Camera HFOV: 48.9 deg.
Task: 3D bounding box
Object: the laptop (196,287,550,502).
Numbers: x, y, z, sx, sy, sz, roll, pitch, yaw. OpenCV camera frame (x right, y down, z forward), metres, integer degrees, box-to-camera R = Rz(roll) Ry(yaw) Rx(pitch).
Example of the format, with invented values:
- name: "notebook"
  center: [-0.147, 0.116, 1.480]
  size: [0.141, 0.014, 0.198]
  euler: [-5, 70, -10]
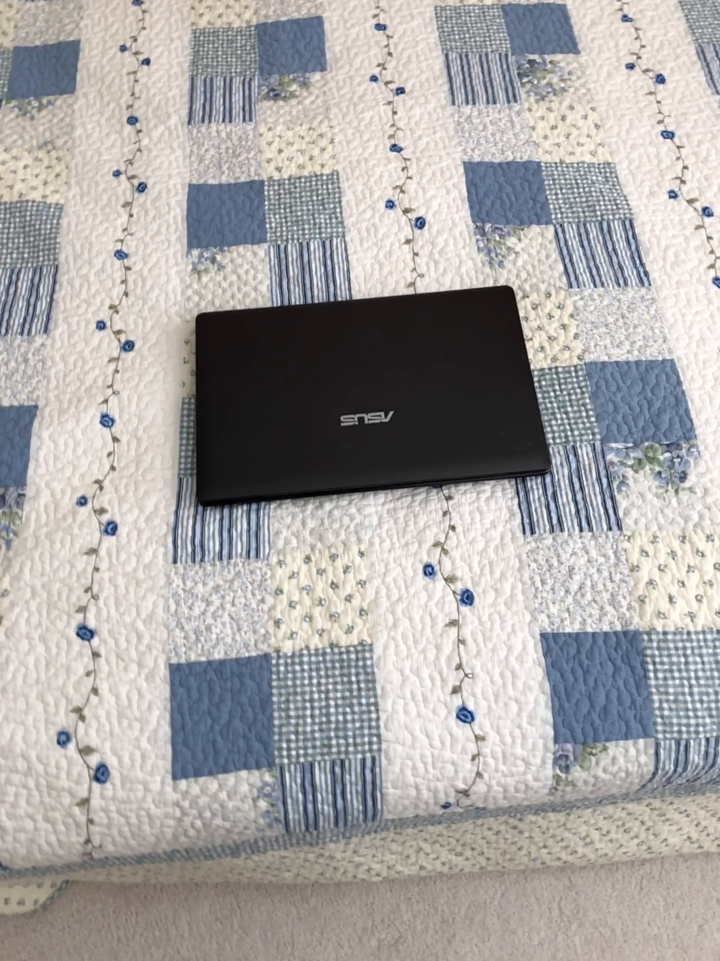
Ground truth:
- name: "laptop"
  center: [0.004, -0.101, 0.877]
  size: [0.369, 0.006, 0.235]
  euler: [-6, 65, 0]
